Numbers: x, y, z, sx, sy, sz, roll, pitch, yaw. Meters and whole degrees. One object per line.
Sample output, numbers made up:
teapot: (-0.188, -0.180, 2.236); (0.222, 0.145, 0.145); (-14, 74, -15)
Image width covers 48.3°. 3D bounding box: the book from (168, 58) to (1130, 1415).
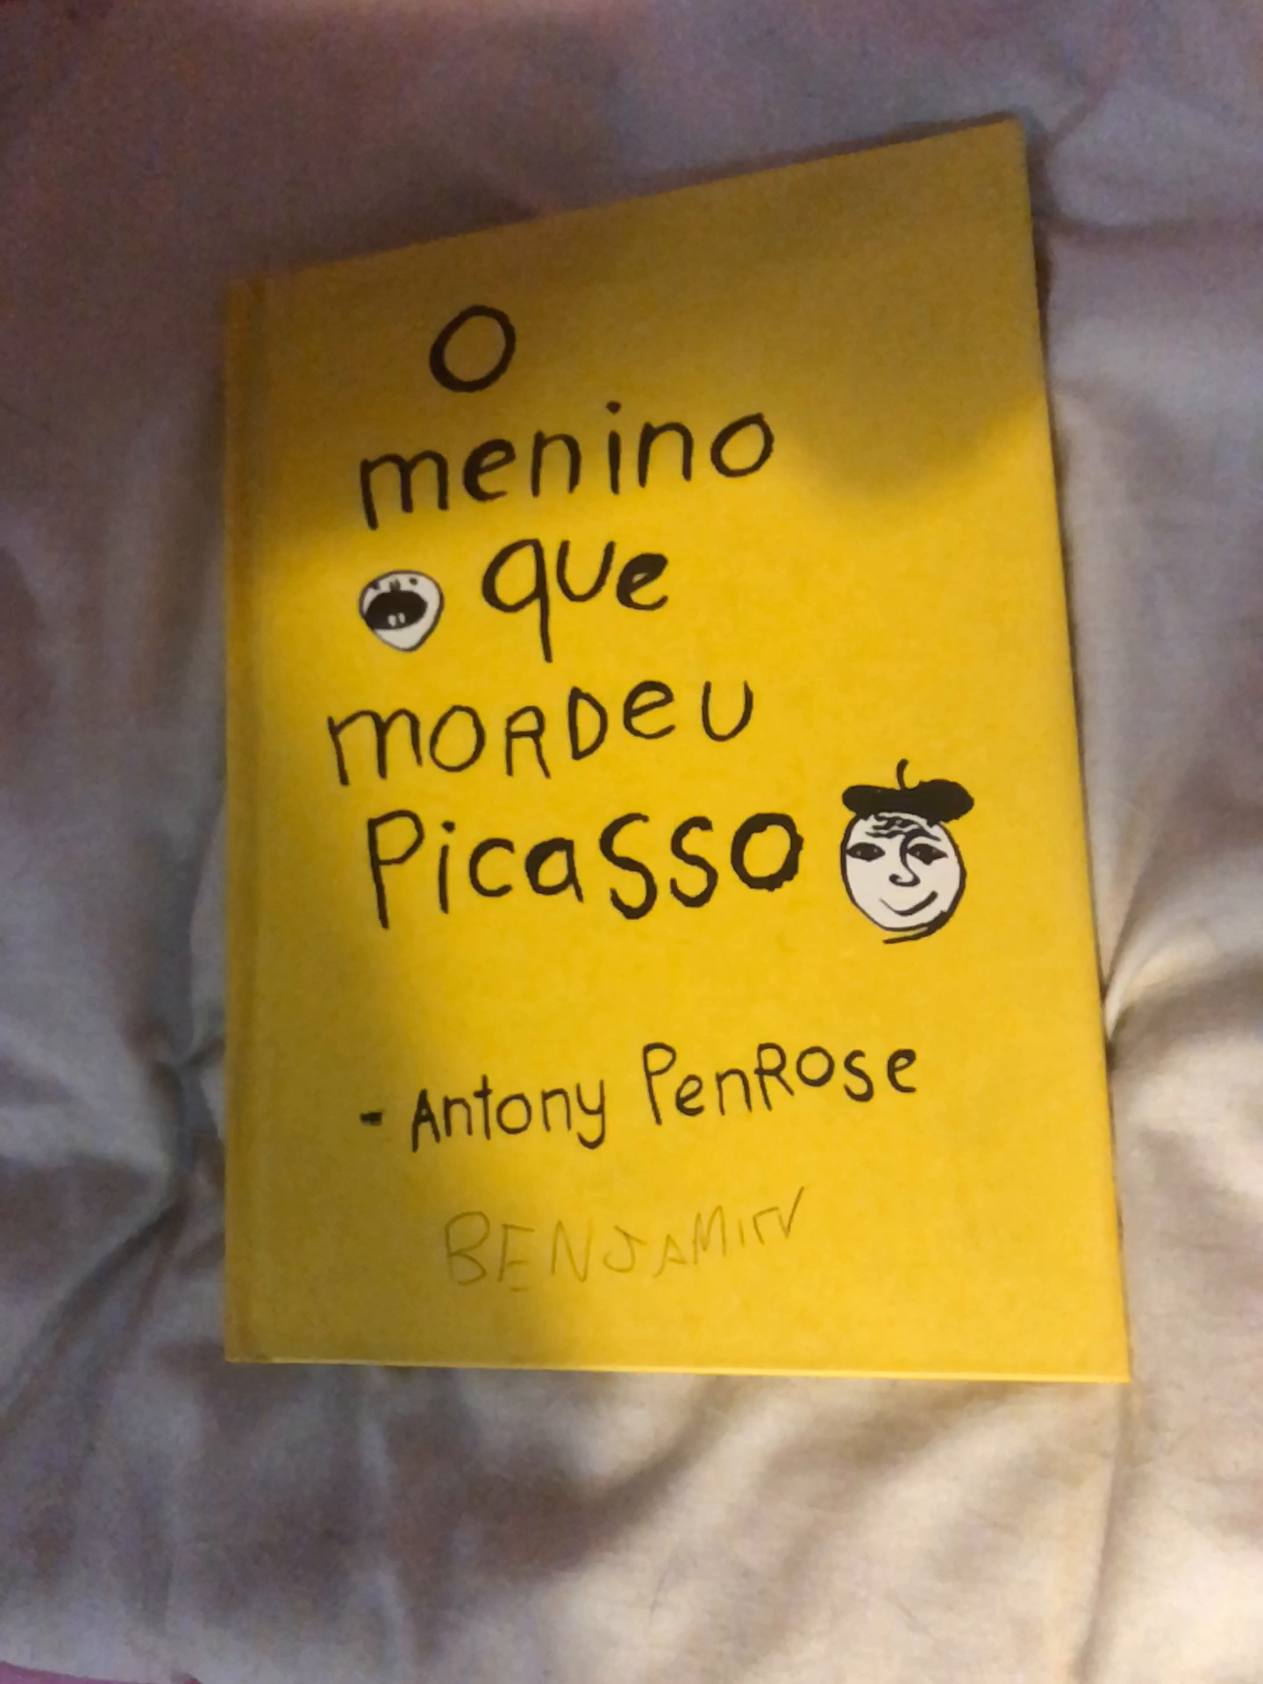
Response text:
book: (-0.006, -0.018, 0.281); (0.180, 0.024, 0.240); (-4, 82, 16)
